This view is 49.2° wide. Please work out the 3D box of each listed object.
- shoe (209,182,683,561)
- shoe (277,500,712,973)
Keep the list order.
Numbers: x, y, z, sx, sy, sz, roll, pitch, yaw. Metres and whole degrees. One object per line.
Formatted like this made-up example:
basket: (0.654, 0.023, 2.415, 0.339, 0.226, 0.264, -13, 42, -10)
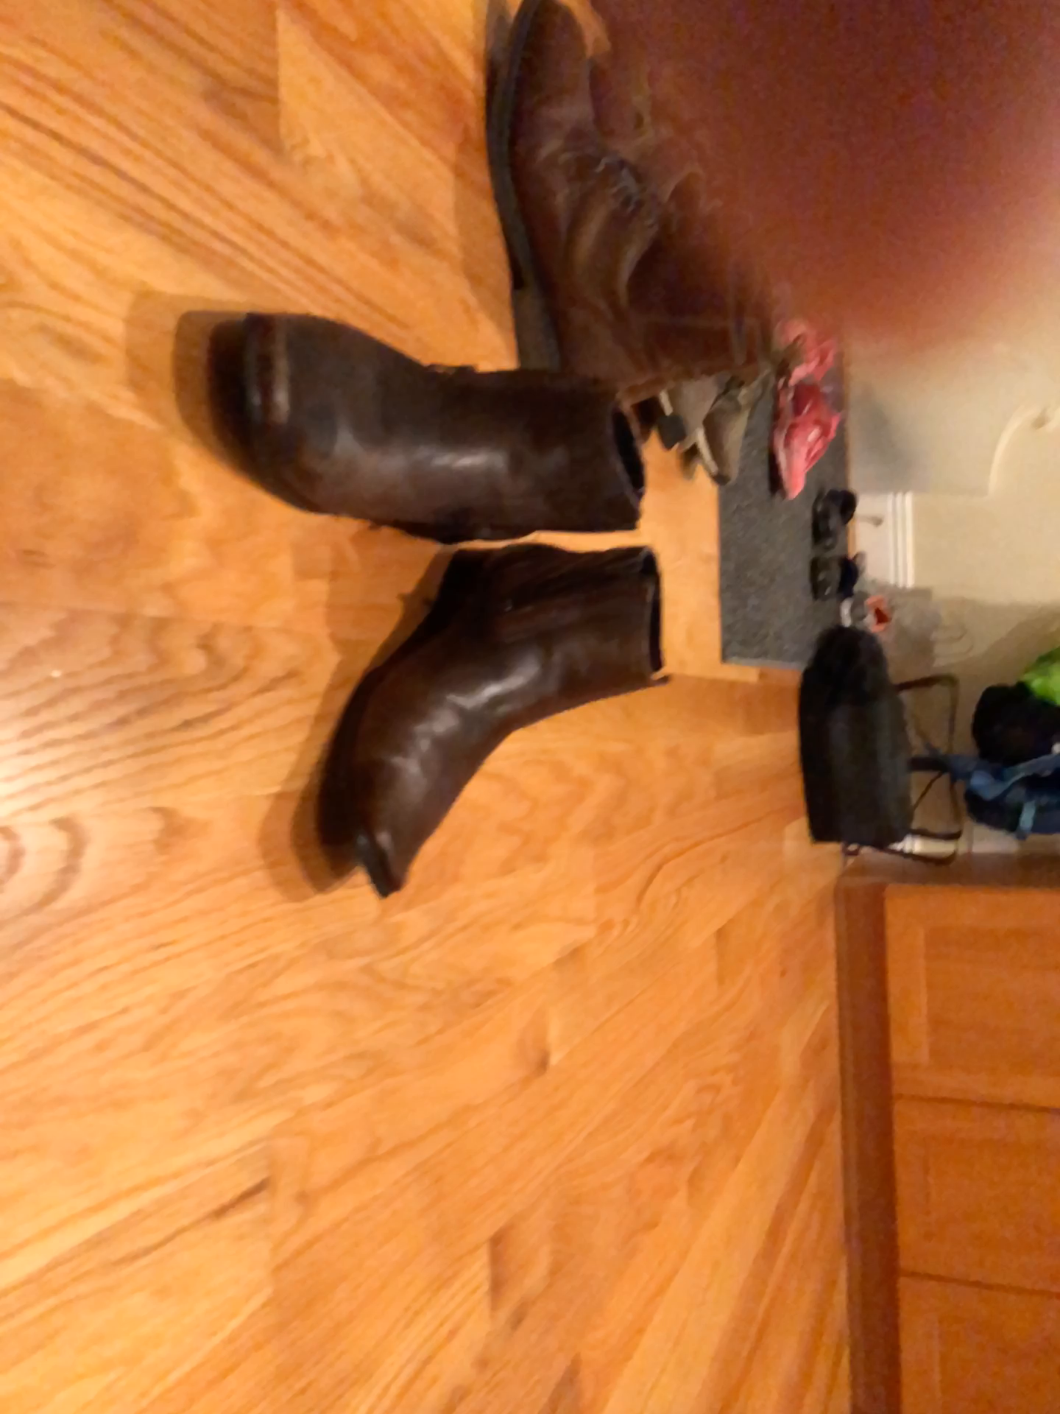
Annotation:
shoe: (-0.024, -0.157, 0.634, 0.291, 0.142, 0.109, 1, 87, -68)
shoe: (0.001, 0.002, 0.693, 0.301, 0.152, 0.109, -65, 146, -49)
